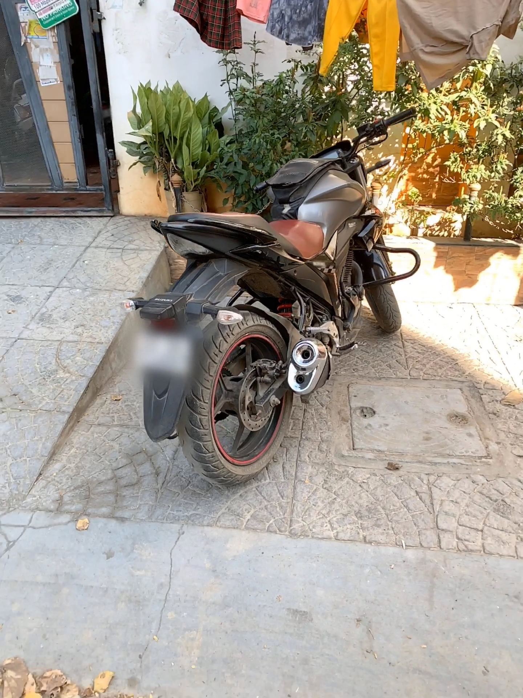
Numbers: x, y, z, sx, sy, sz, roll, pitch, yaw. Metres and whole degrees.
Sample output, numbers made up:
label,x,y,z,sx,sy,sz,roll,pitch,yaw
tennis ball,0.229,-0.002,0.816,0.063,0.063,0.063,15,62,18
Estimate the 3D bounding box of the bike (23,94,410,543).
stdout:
label,x,y,z,sx,sy,sz,roll,pitch,yaw
bike,0.013,-0.380,2.178,0.809,1.140,1.629,11,29,22
